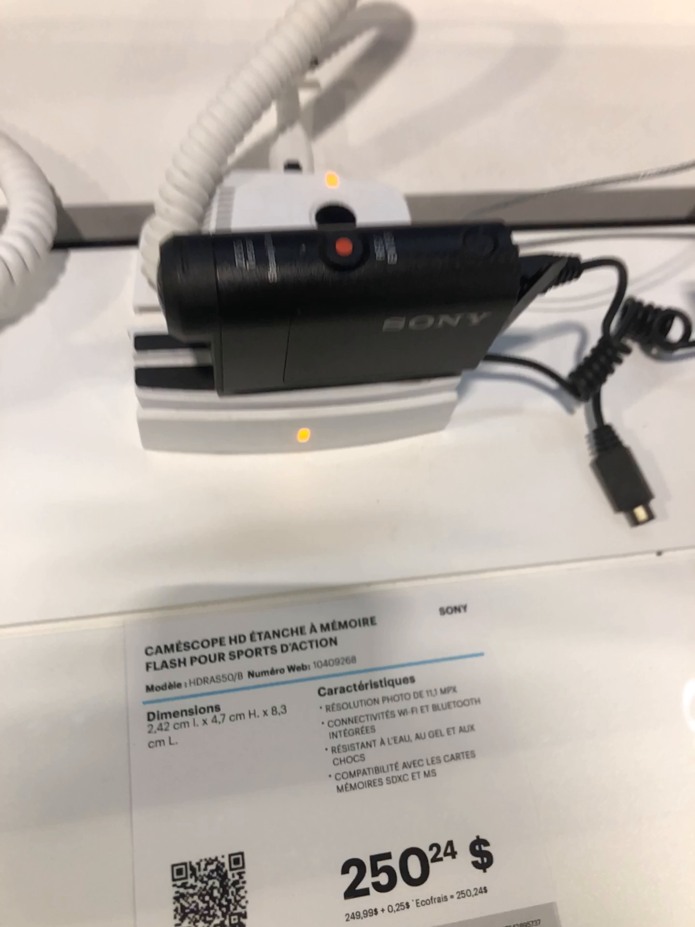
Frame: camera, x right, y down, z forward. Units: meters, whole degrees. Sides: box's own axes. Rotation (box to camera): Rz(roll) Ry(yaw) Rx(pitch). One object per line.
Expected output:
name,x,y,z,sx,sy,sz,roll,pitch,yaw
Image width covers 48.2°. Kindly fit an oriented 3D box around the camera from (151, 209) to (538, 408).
camera,-0.003,-0.035,0.184,0.080,0.045,0.020,-5,66,-10
